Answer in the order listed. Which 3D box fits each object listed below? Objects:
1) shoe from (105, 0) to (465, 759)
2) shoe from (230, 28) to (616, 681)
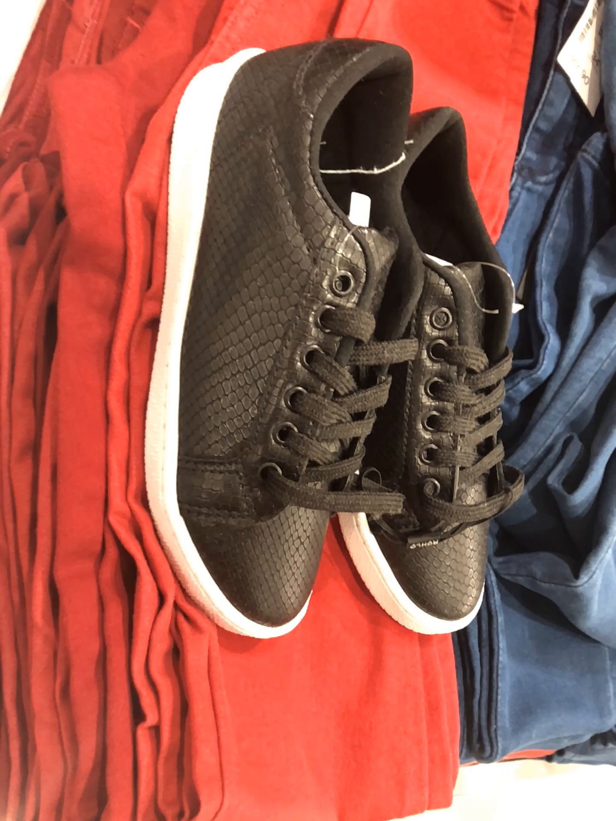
[{"bbox_3d":[-0.009,-0.027,0.260,0.091,0.099,0.250,0,90,-48],"label":"shoe"},{"bbox_3d":[0.054,-0.020,0.320,0.091,0.099,0.250,-8,84,-44],"label":"shoe"}]
